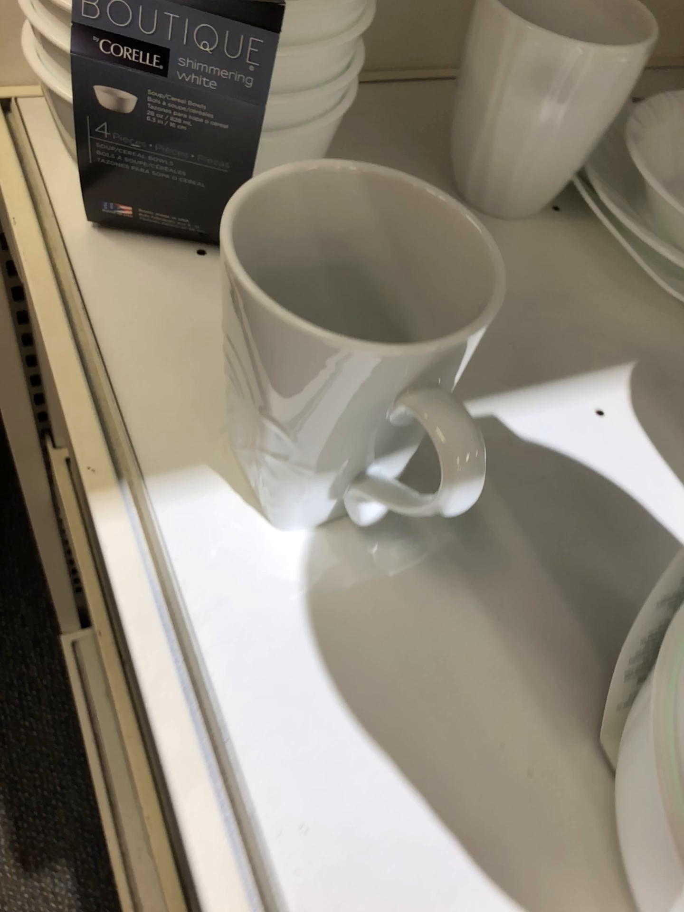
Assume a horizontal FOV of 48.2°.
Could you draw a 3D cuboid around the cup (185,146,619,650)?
[{"bbox_3d":[0.004,-0.020,0.266,0.086,0.113,0.115,-13,57,-21],"label":"cup"}]
